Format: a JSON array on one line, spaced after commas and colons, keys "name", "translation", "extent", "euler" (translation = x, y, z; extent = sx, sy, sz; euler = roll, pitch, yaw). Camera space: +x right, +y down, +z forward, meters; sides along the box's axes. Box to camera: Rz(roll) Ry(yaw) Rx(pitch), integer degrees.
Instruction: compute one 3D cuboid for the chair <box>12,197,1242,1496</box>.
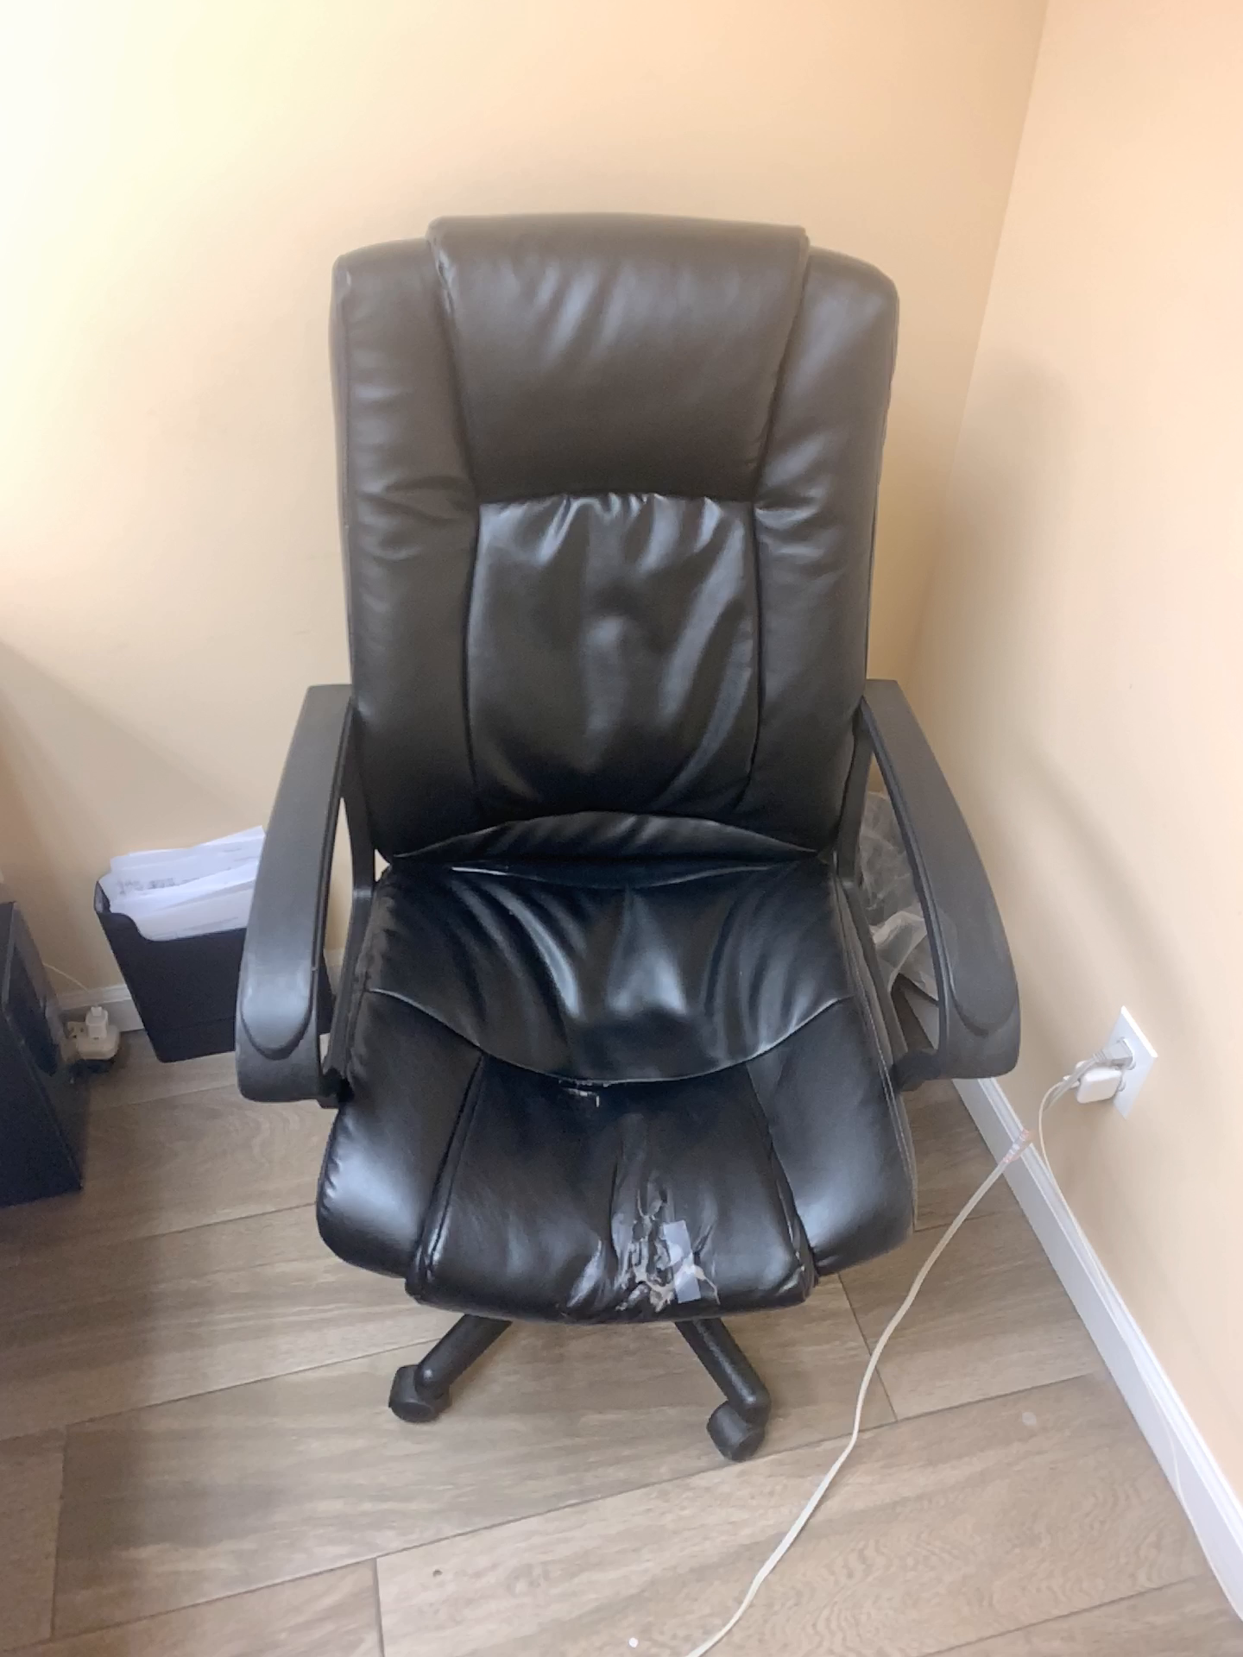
[{"name": "chair", "translation": [0.013, 0.080, 1.197], "extent": [0.648, 1.083, 0.630], "euler": [1, 41, -2]}]
